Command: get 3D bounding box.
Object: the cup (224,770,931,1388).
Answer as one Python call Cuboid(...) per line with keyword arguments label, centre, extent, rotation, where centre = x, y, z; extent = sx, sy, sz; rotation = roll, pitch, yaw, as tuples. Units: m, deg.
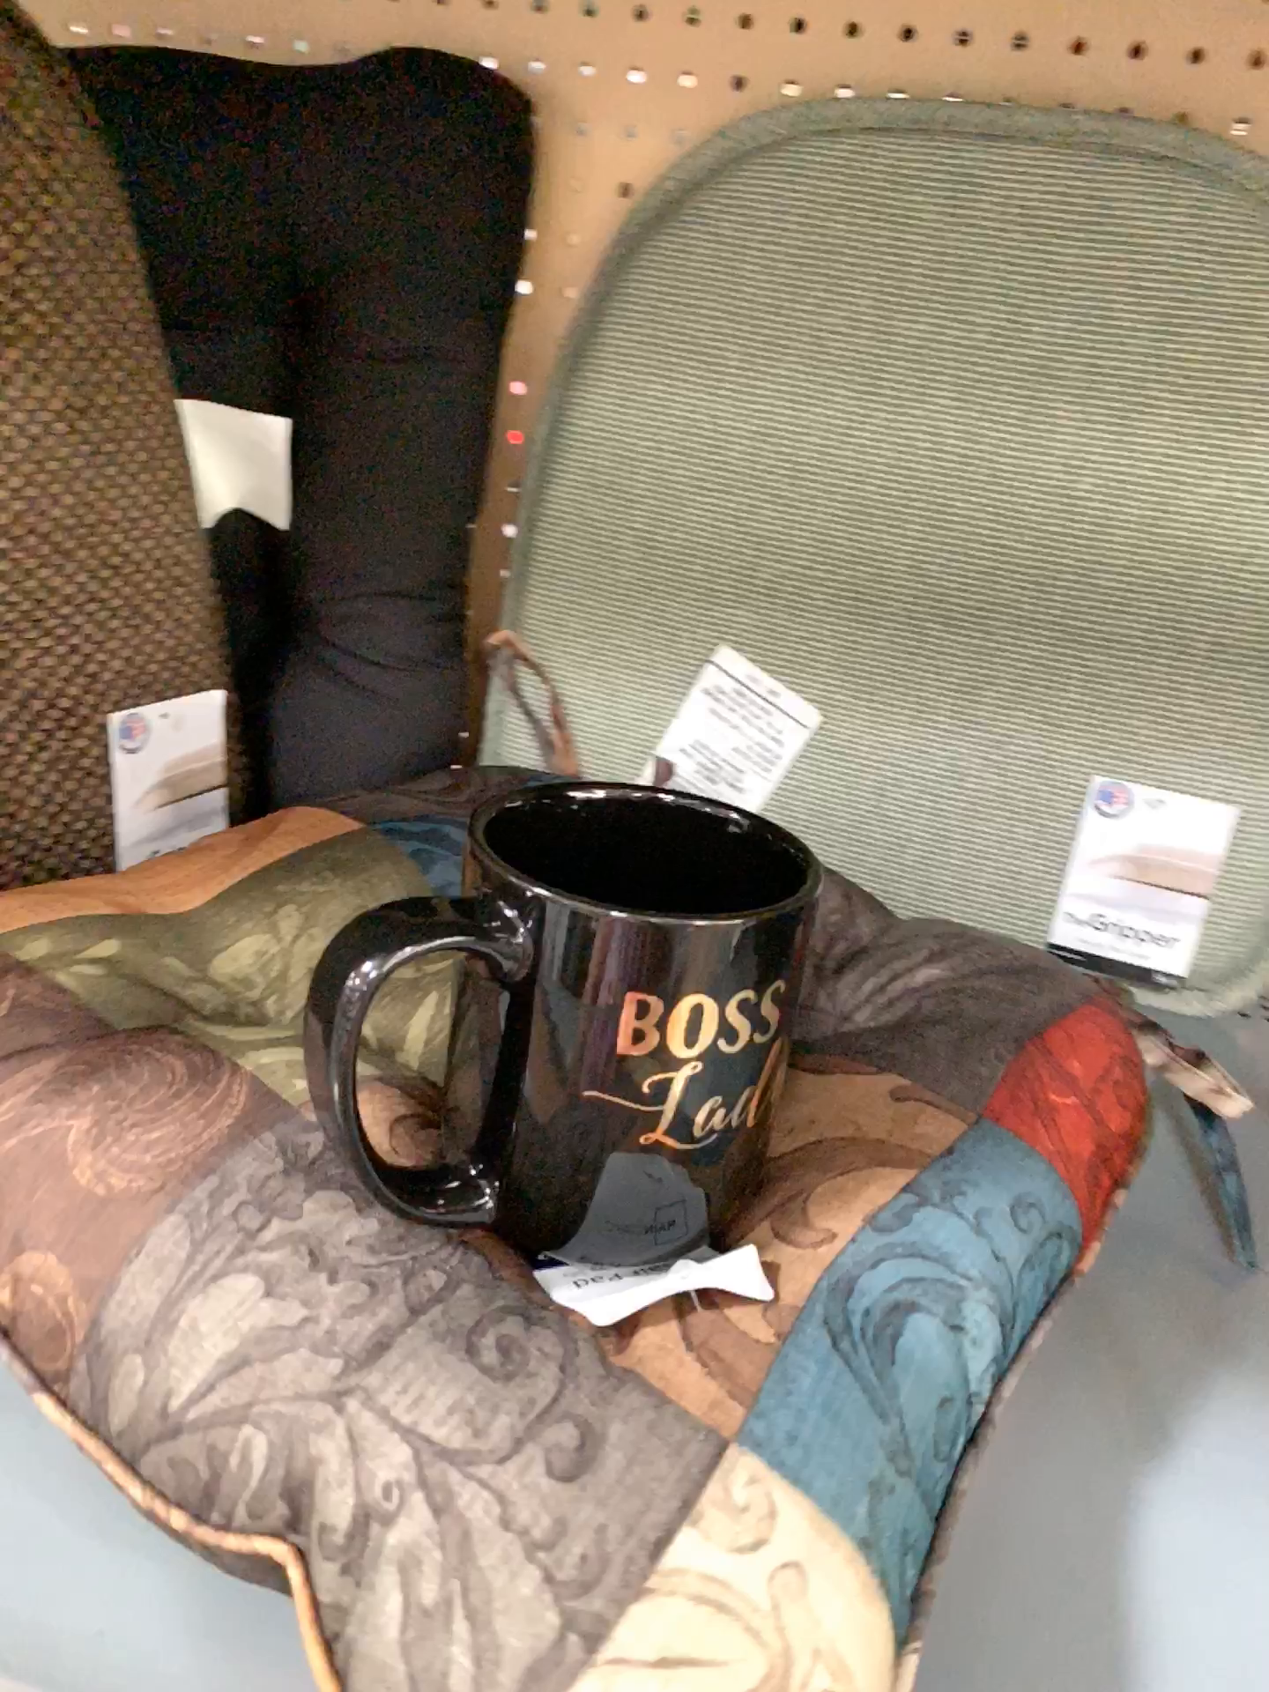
Cuboid(label="cup", centre=(-0.016, 0.045, 0.335), extent=(0.130, 0.100, 0.100), rotation=(-3, 25, -42))
